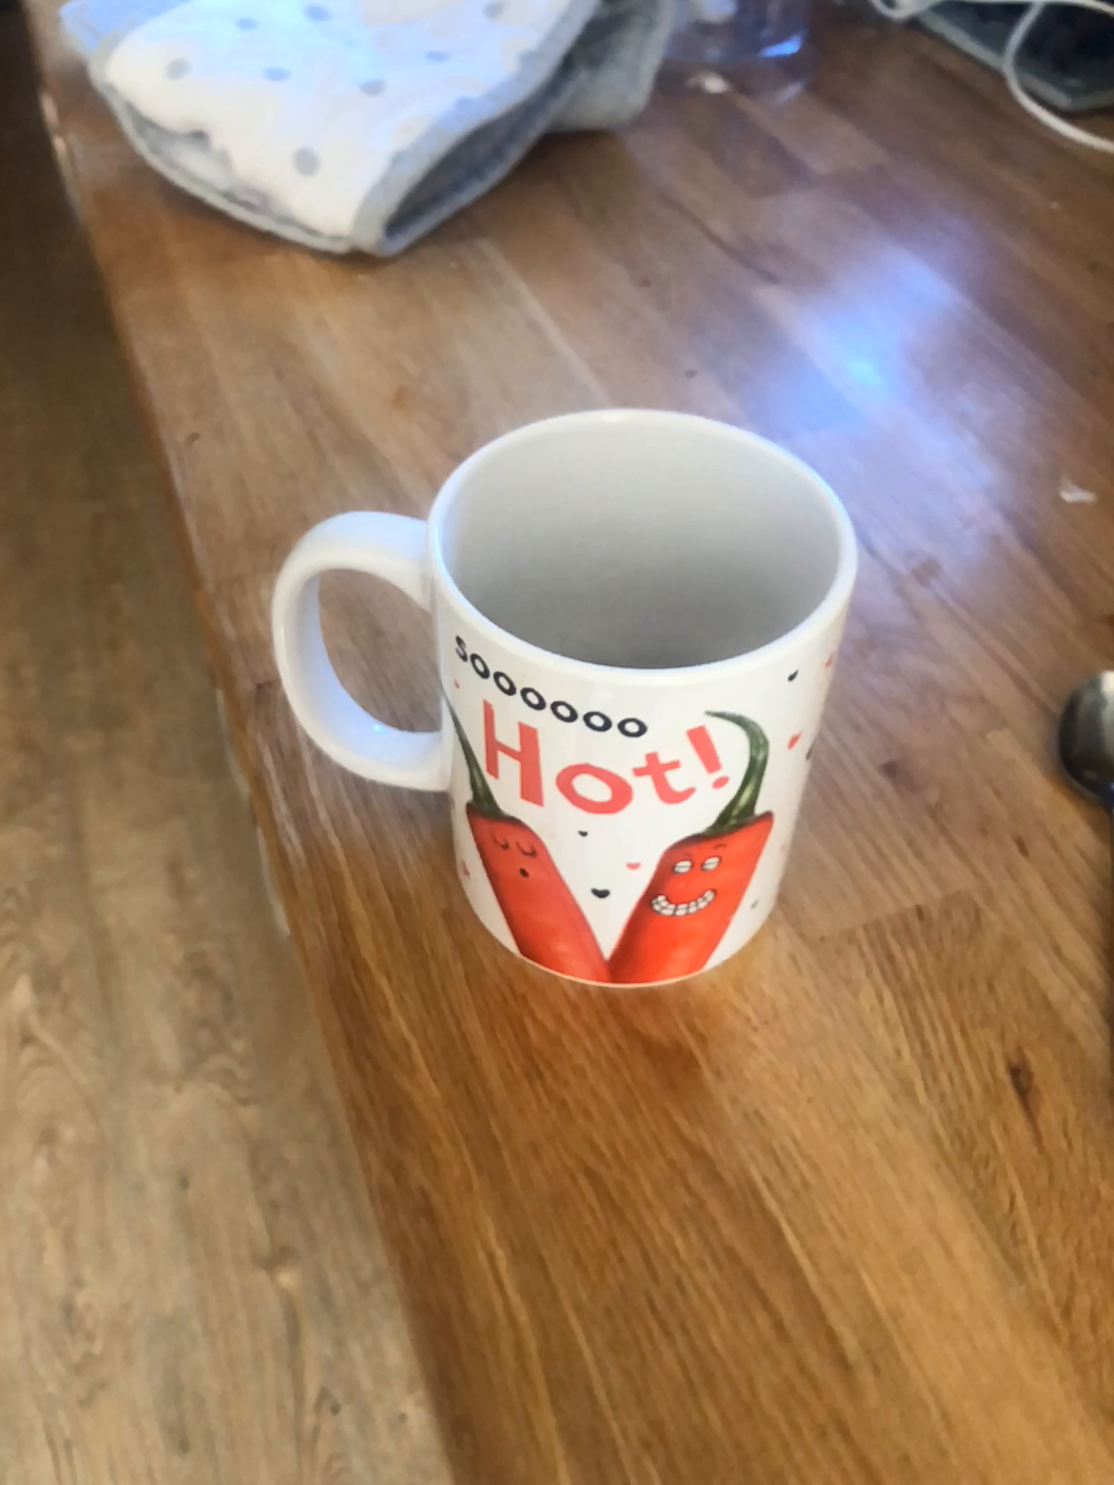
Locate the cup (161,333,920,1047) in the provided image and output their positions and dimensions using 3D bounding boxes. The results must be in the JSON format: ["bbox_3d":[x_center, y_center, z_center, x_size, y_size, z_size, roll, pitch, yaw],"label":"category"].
[{"bbox_3d":[0.001,-0.014,0.302,0.136,0.109,0.097,14,49,12],"label":"cup"}]
